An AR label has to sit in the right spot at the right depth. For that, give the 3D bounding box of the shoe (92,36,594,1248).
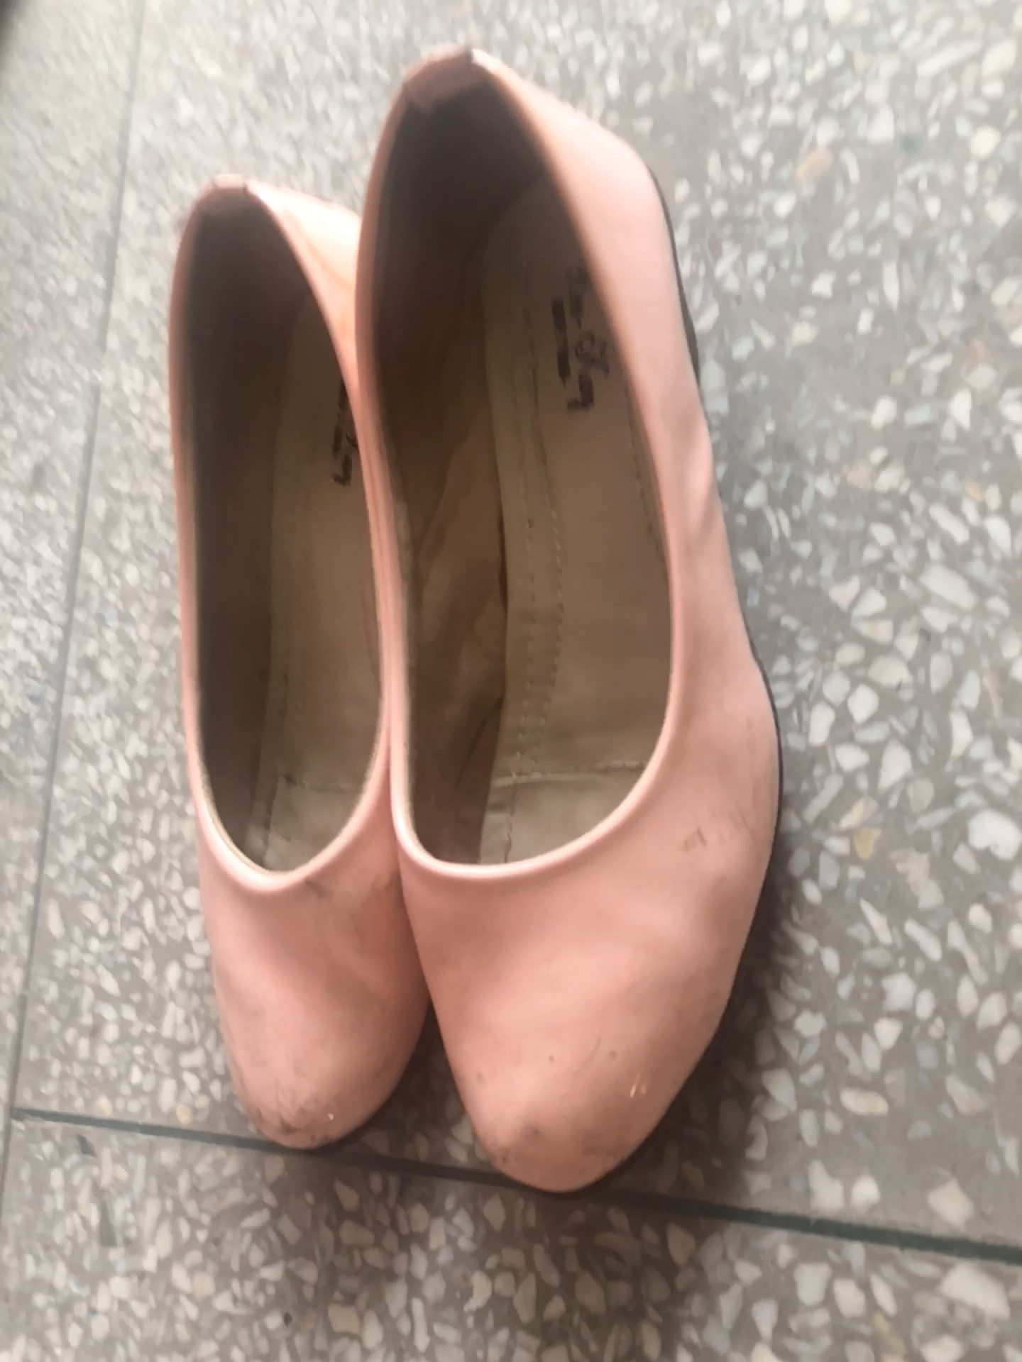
[{"bbox_3d":[-0.044,-0.008,0.297,0.090,0.070,0.260,-5,88,35],"label":"shoe"}]

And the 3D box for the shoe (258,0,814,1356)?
[{"bbox_3d":[0.006,-0.015,0.250,0.090,0.070,0.260,-5,80,35],"label":"shoe"}]
